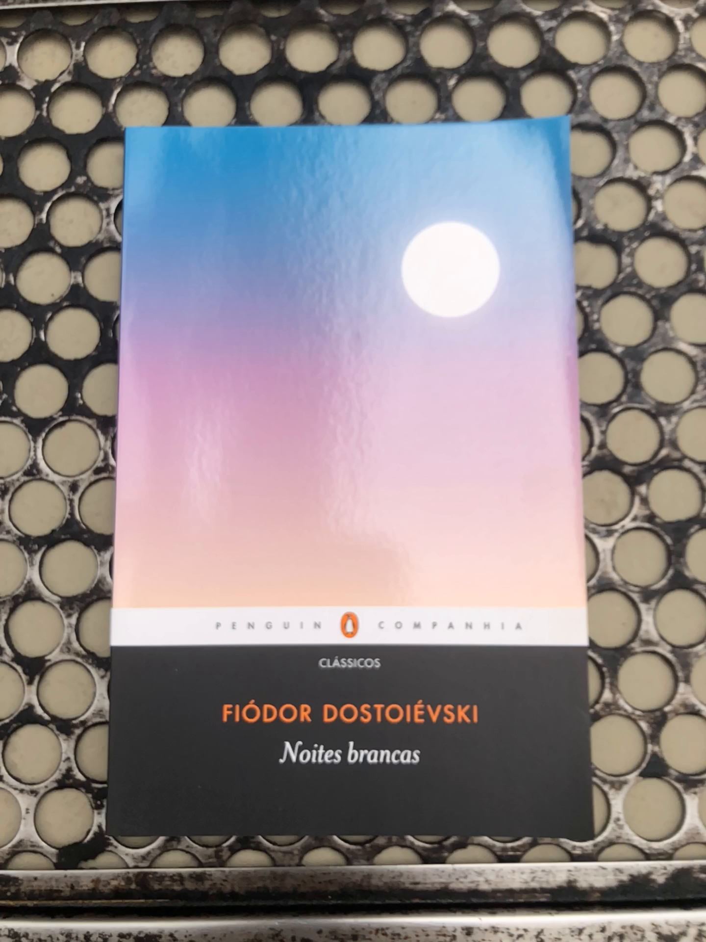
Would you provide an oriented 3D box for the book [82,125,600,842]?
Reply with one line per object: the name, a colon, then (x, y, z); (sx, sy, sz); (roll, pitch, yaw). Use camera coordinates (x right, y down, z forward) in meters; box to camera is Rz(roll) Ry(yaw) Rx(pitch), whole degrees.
book: (-0.003, 0.000, 0.218); (0.132, 0.010, 0.191); (0, 84, 1)
